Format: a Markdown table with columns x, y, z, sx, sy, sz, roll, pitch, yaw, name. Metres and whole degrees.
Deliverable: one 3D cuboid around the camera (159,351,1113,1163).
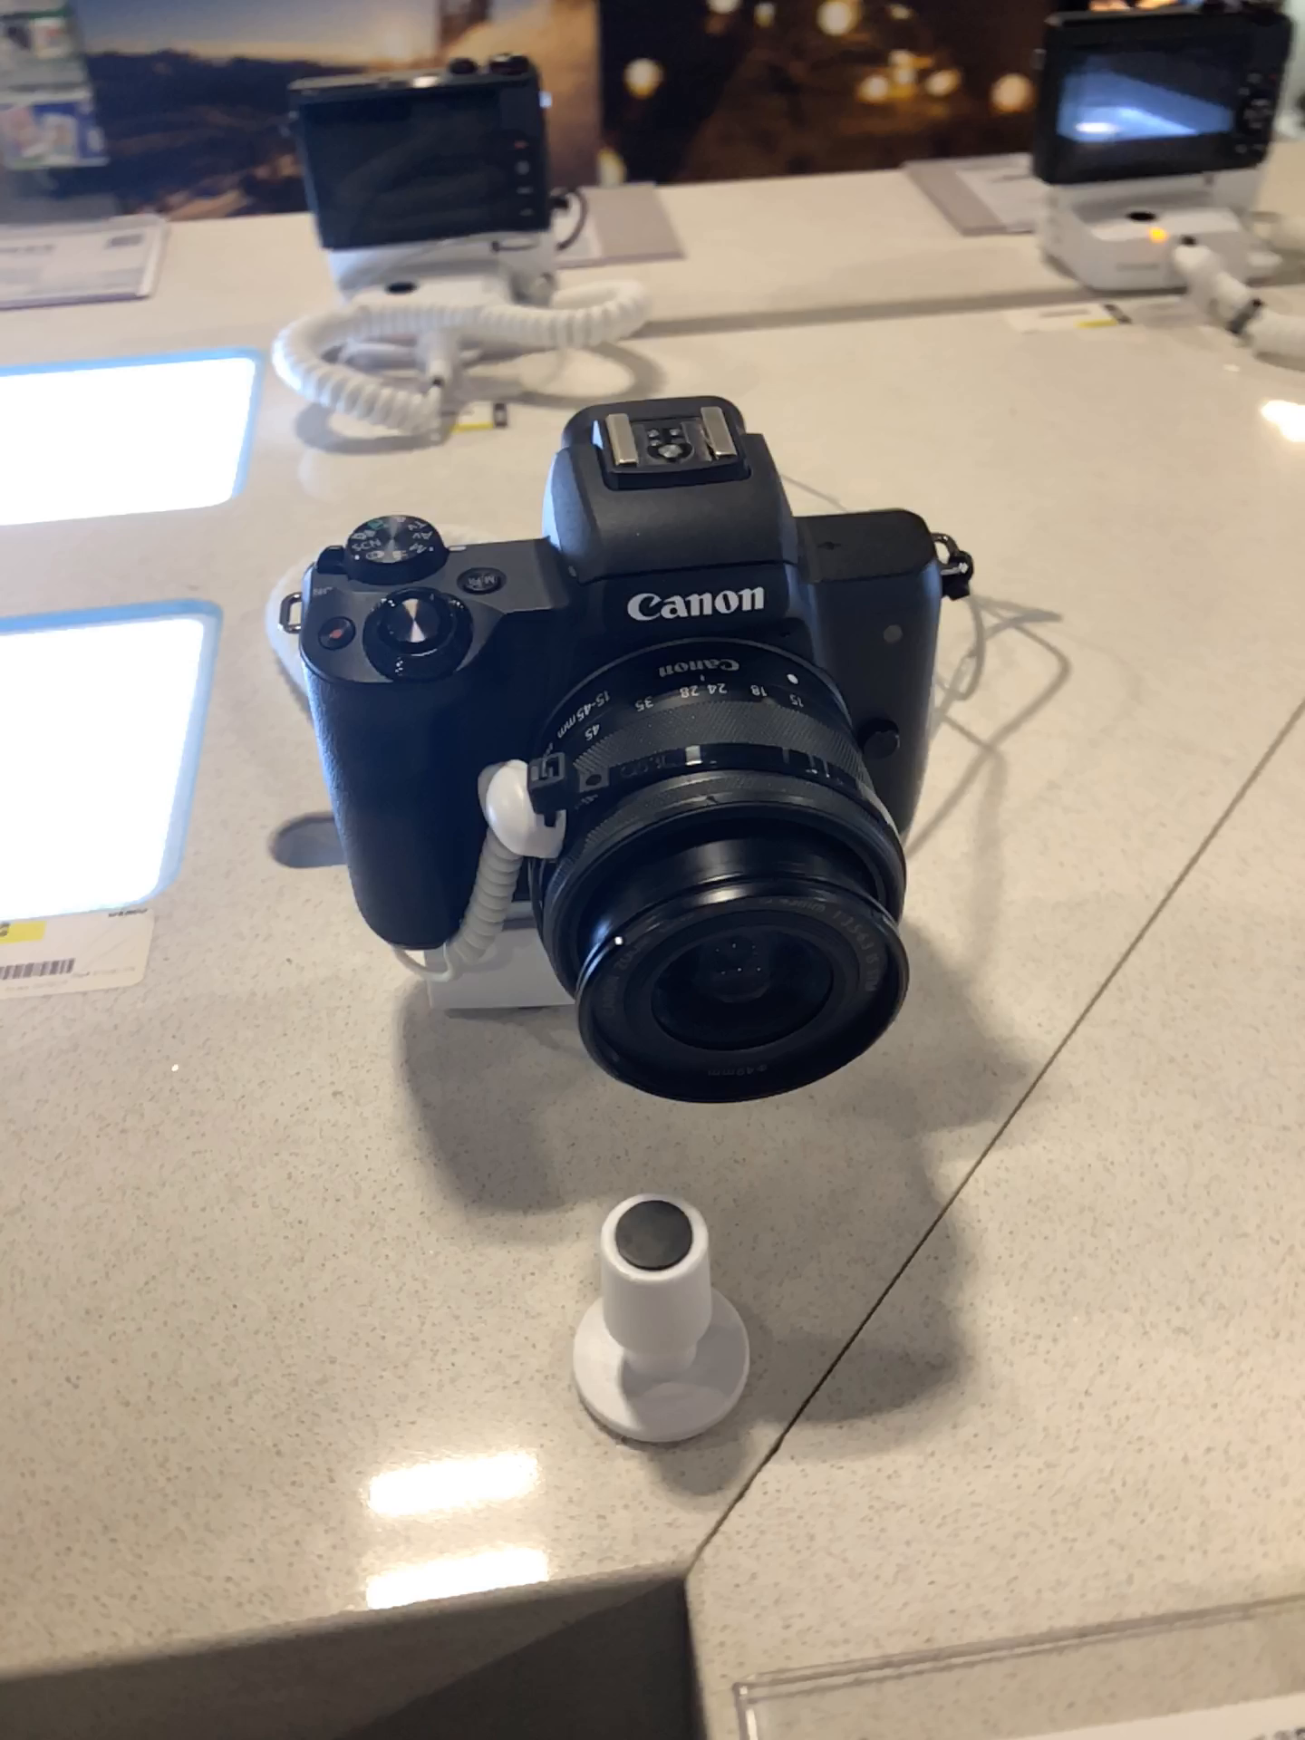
| x | y | z | sx | sy | sz | roll | pitch | yaw | name |
| --- | --- | --- | --- | --- | --- | --- | --- | --- | --- |
| -0.007 | -0.028 | 0.267 | 0.130 | 0.079 | 0.121 | -7 | 41 | -5 | camera |
